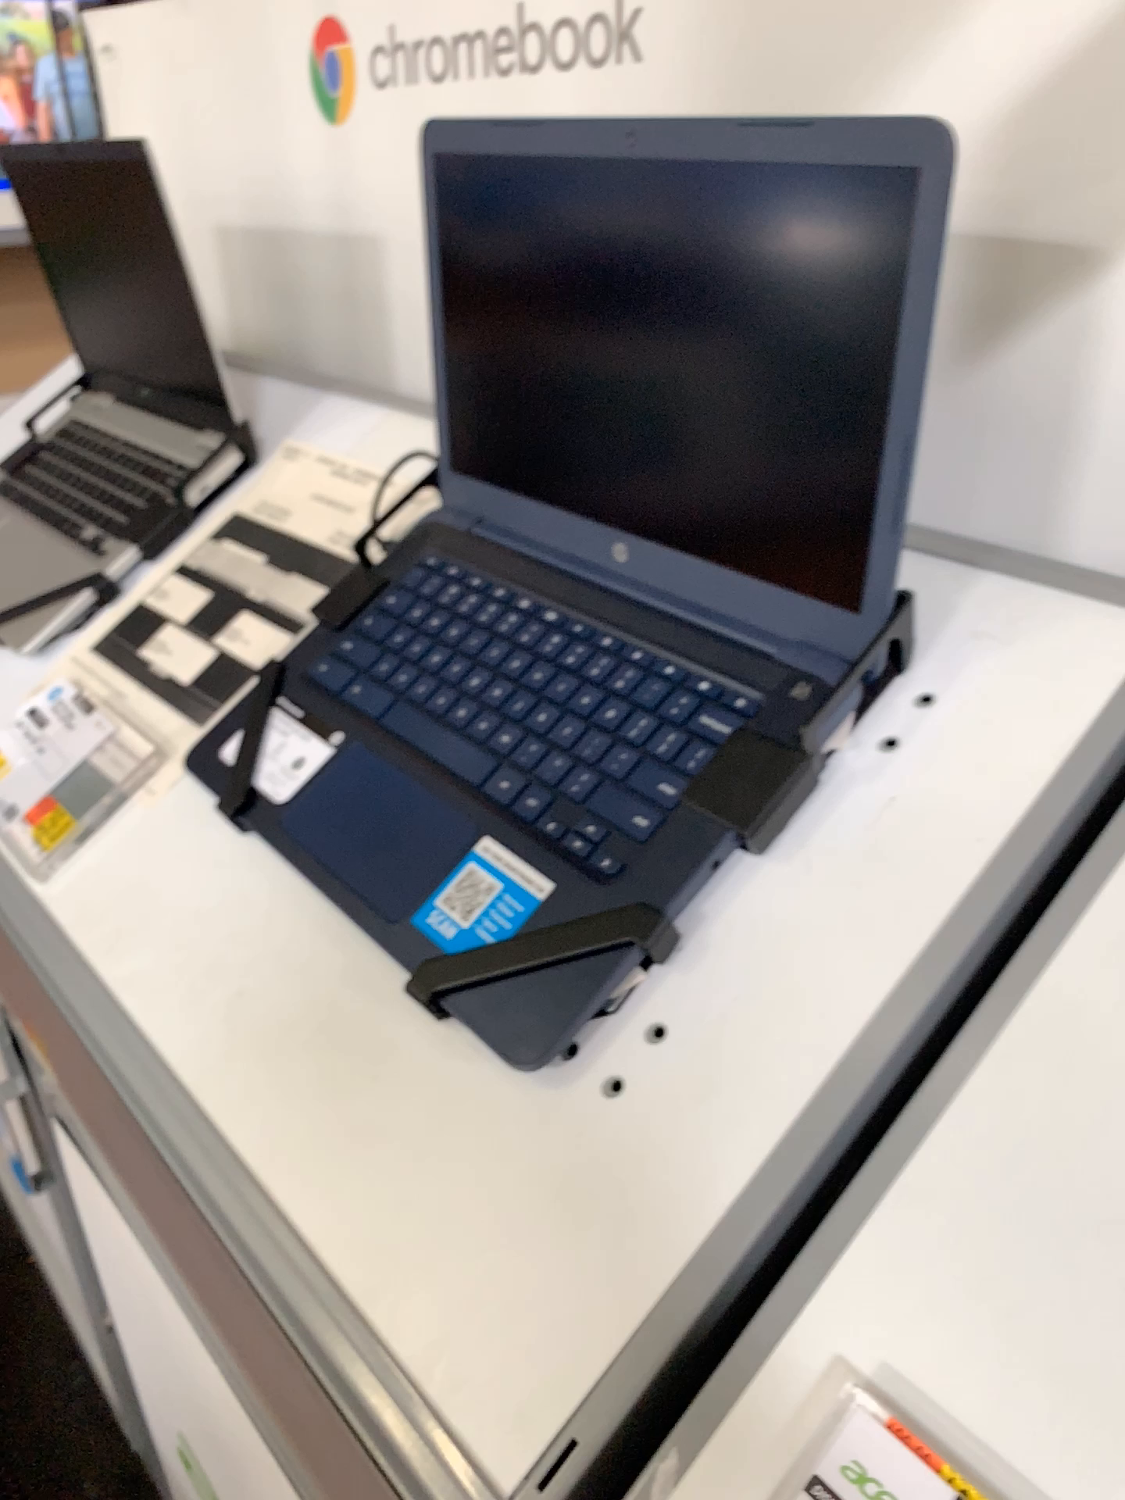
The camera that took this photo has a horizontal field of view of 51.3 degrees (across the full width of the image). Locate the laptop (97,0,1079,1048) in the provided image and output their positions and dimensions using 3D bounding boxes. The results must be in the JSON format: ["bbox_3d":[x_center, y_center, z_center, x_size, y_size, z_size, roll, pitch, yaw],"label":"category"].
[{"bbox_3d":[-0.016,-0.144,0.554,0.322,0.189,0.318,-41,43,-19],"label":"laptop"}]
